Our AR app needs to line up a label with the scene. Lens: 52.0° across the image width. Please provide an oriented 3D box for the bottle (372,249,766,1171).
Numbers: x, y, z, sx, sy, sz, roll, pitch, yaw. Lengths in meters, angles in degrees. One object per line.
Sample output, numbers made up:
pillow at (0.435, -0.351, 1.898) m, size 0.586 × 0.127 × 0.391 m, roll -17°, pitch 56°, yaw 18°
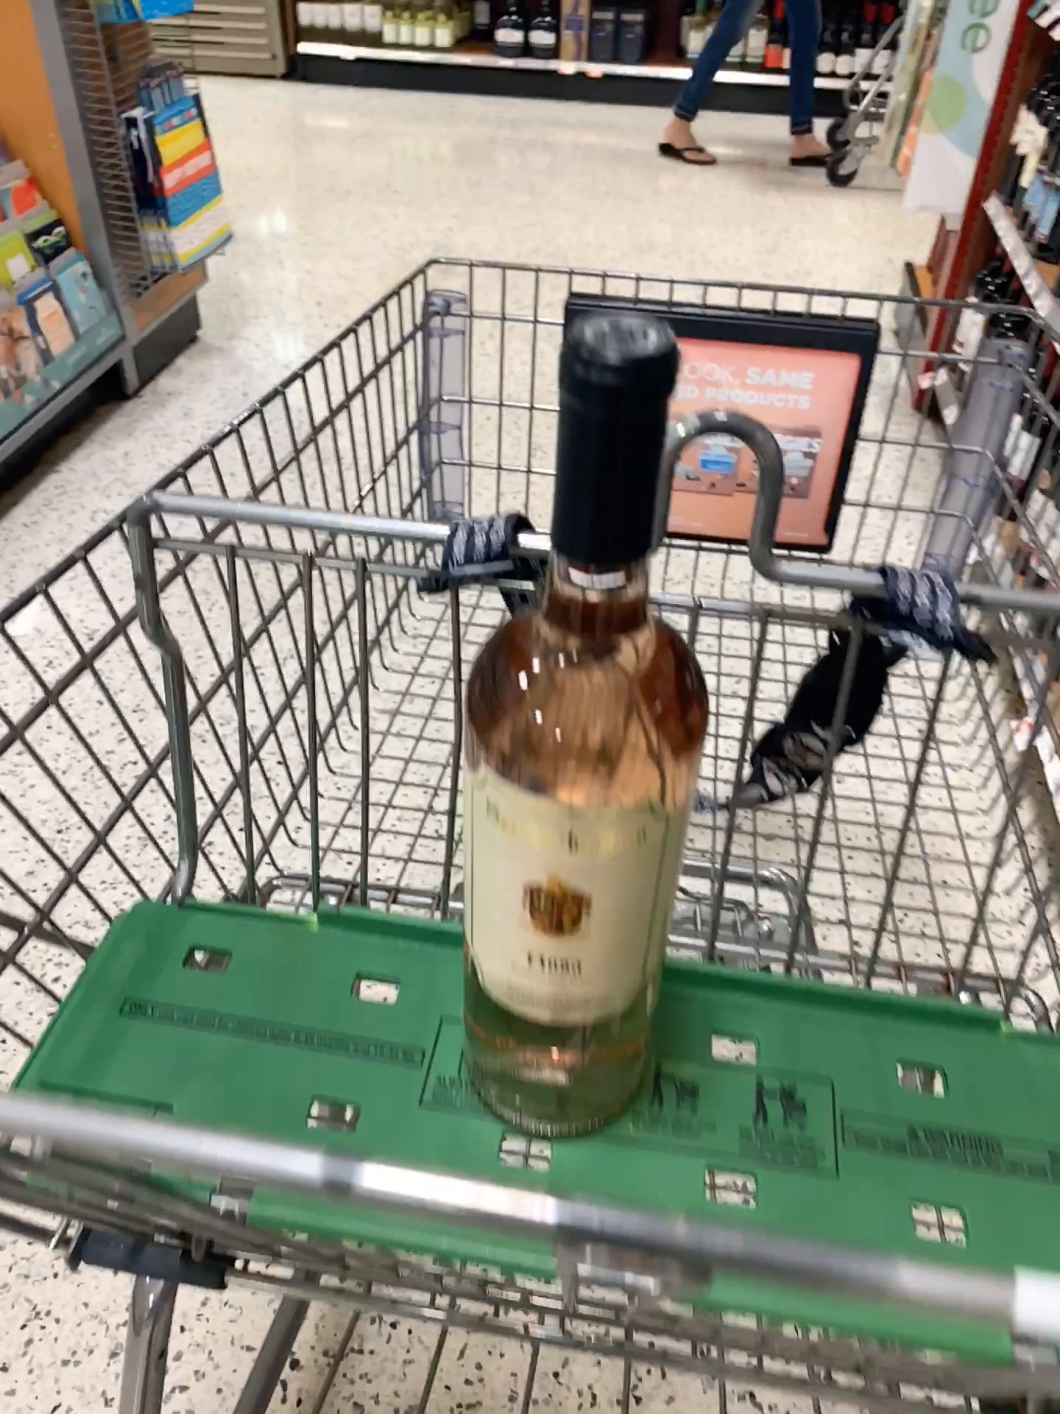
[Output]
bottle at (0.011, 0.027, 0.364) m, size 0.083 × 0.316 × 0.087 m, roll 1°, pitch 40°, yaw -1°
